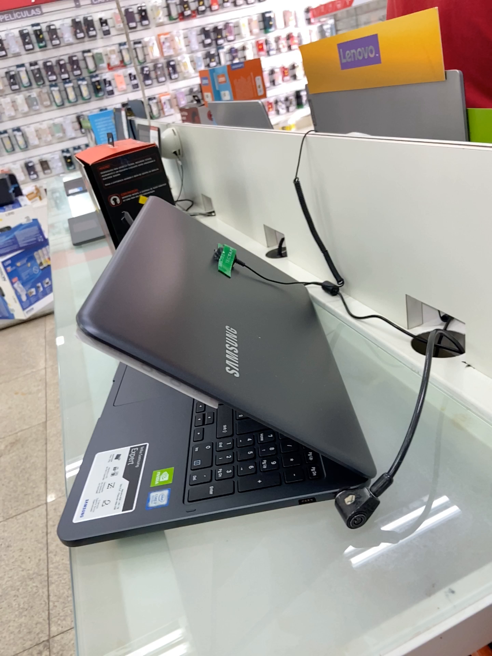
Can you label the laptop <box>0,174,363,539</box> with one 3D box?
[{"bbox_3d":[-0.054,-0.014,0.501,0.231,0.158,0.359,-13,26,3],"label":"laptop"}]
